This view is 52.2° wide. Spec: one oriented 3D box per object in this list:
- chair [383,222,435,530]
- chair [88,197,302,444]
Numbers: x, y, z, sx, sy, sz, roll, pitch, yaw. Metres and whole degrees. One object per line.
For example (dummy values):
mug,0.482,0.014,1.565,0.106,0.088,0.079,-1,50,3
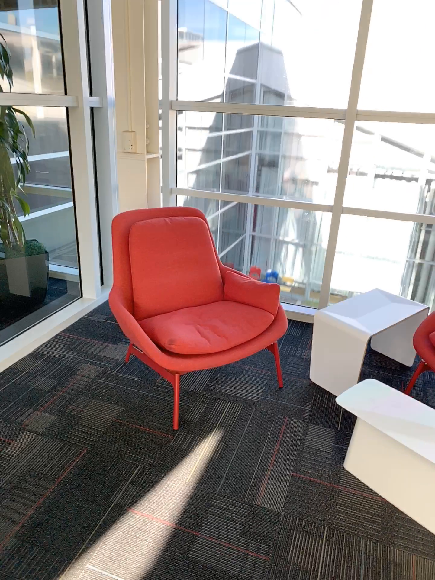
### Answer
chair,1.578,0.298,2.212,0.920,0.995,0.874,-11,27,-30
chair,-0.167,0.089,2.640,0.870,1.055,0.824,-13,27,-32
